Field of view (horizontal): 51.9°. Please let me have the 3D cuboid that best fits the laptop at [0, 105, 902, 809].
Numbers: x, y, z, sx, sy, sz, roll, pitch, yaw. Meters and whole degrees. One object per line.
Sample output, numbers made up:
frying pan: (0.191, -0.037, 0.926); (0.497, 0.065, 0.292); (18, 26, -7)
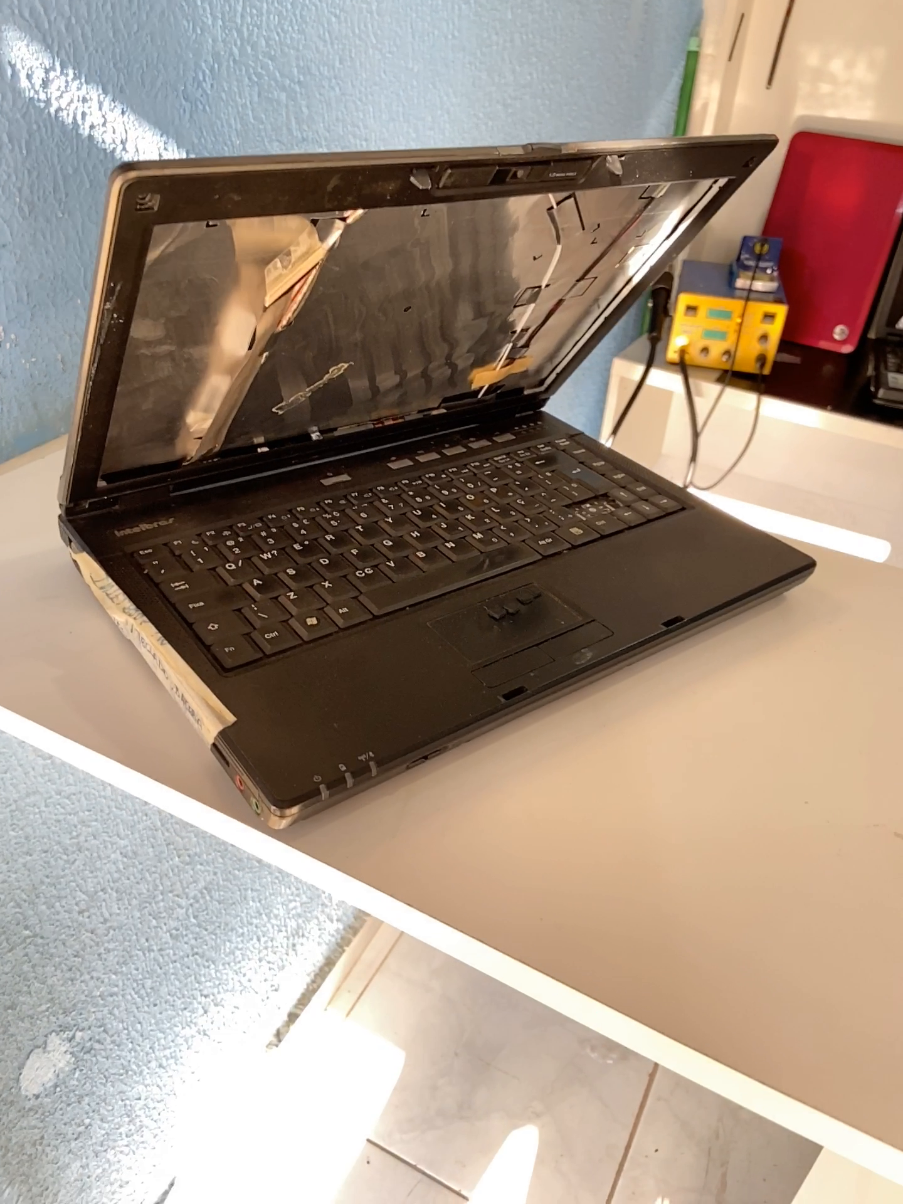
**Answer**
laptop: (0.007, -0.110, 0.437); (0.323, 0.191, 0.232); (-20, 41, -32)
